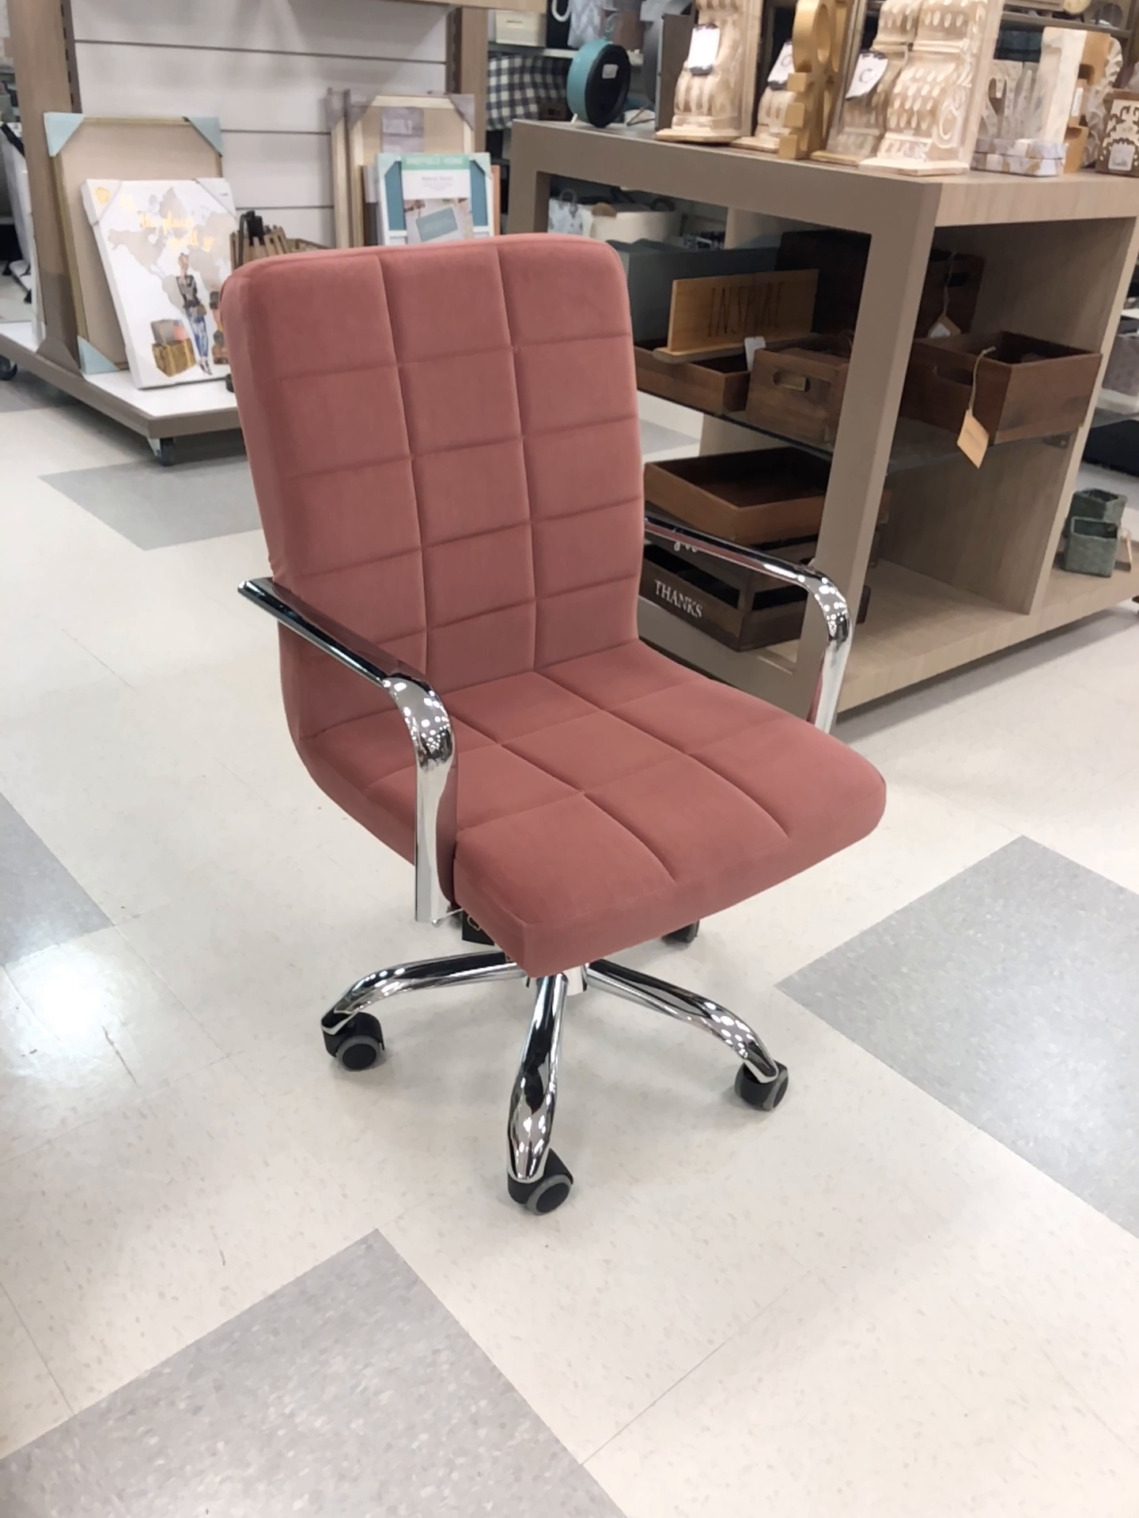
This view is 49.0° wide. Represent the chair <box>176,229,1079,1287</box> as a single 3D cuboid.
[{"bbox_3d":[0.017,-0.065,1.305,0.576,0.819,0.563,-19,37,-35],"label":"chair"}]
